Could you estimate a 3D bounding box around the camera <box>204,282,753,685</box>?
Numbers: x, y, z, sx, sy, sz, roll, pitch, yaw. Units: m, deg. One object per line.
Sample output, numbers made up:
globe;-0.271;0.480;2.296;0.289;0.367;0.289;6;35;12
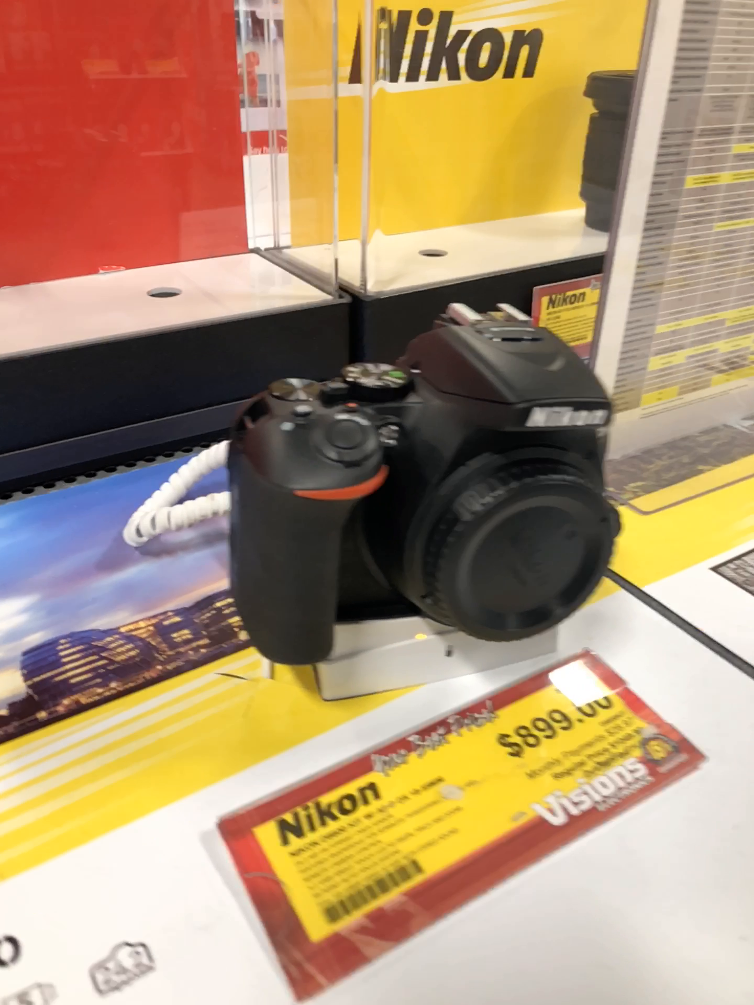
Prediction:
camera;0.023;-0.014;0.260;0.140;0.089;0.081;-5;28;-17
